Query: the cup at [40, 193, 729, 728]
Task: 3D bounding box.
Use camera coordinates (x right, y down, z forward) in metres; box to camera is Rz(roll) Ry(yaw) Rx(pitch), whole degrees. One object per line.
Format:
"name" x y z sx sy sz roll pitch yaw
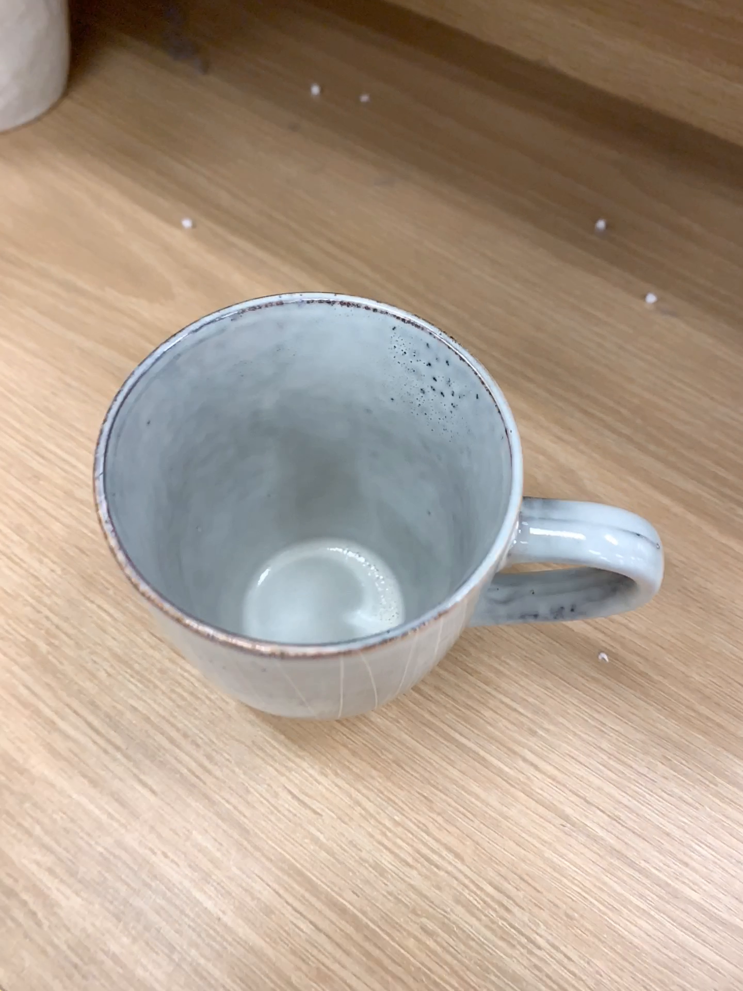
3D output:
"cup" 0.005 -0.004 0.221 0.136 0.098 0.107 4 62 1
